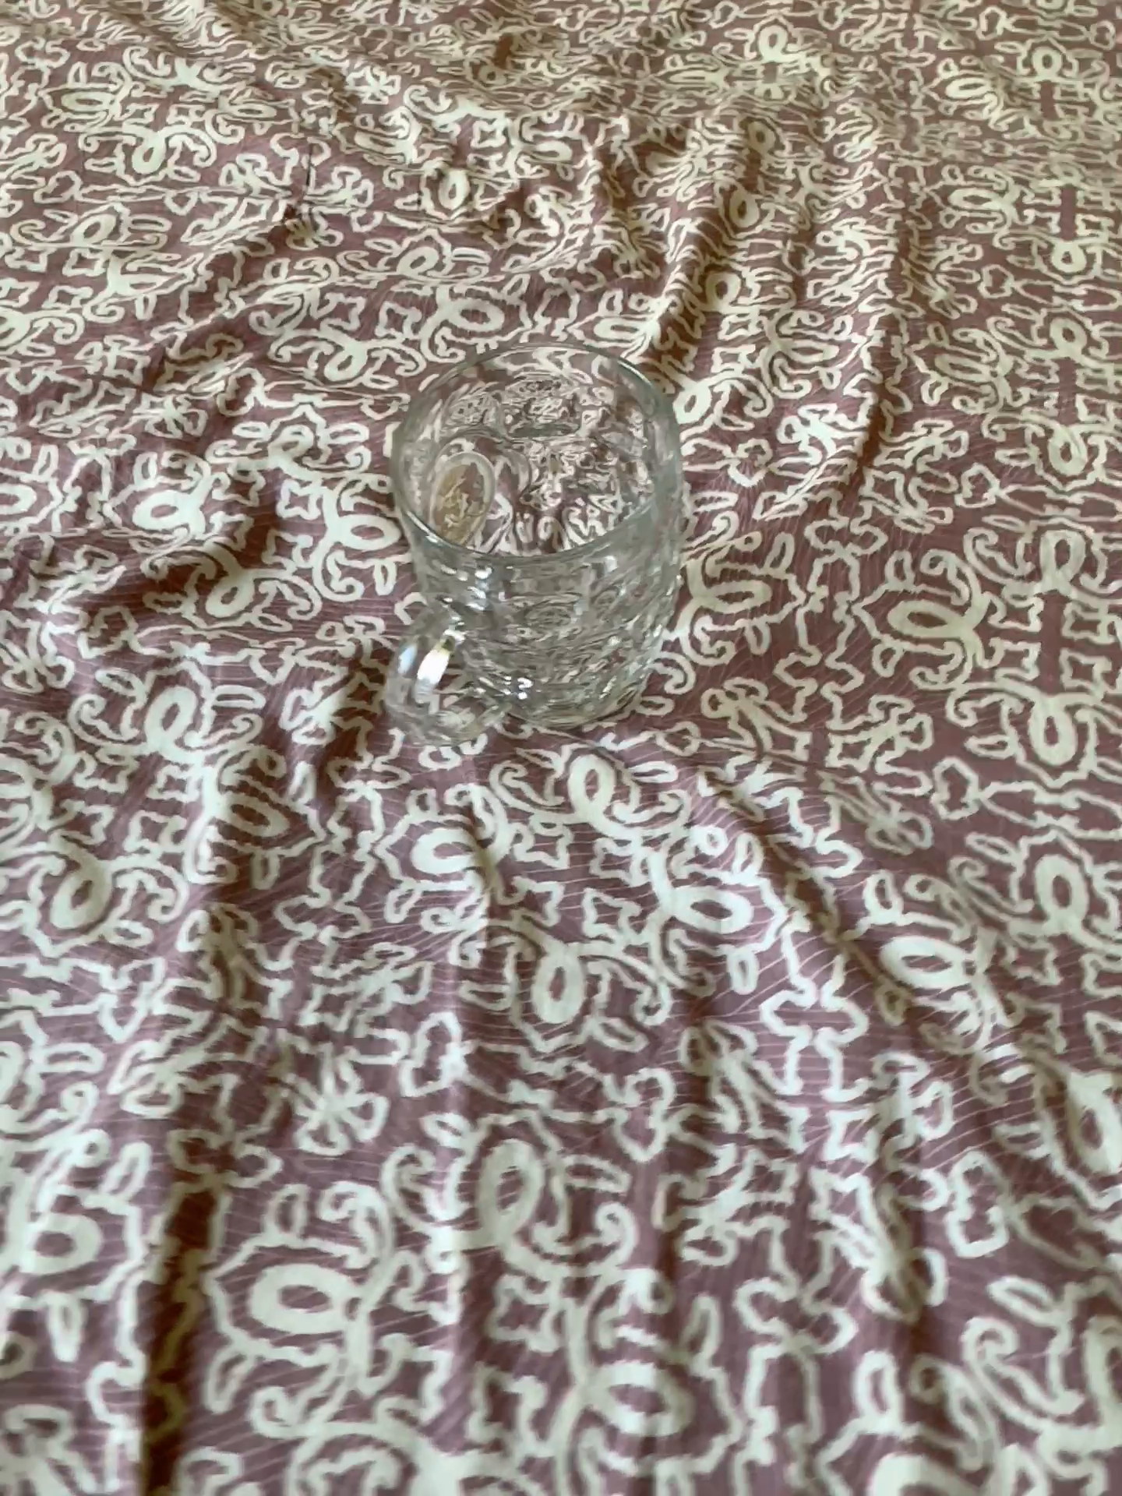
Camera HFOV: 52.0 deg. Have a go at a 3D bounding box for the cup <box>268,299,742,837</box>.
[{"bbox_3d":[-0.011,-0.059,0.381,0.093,0.099,0.118,25,65,18],"label":"cup"}]
